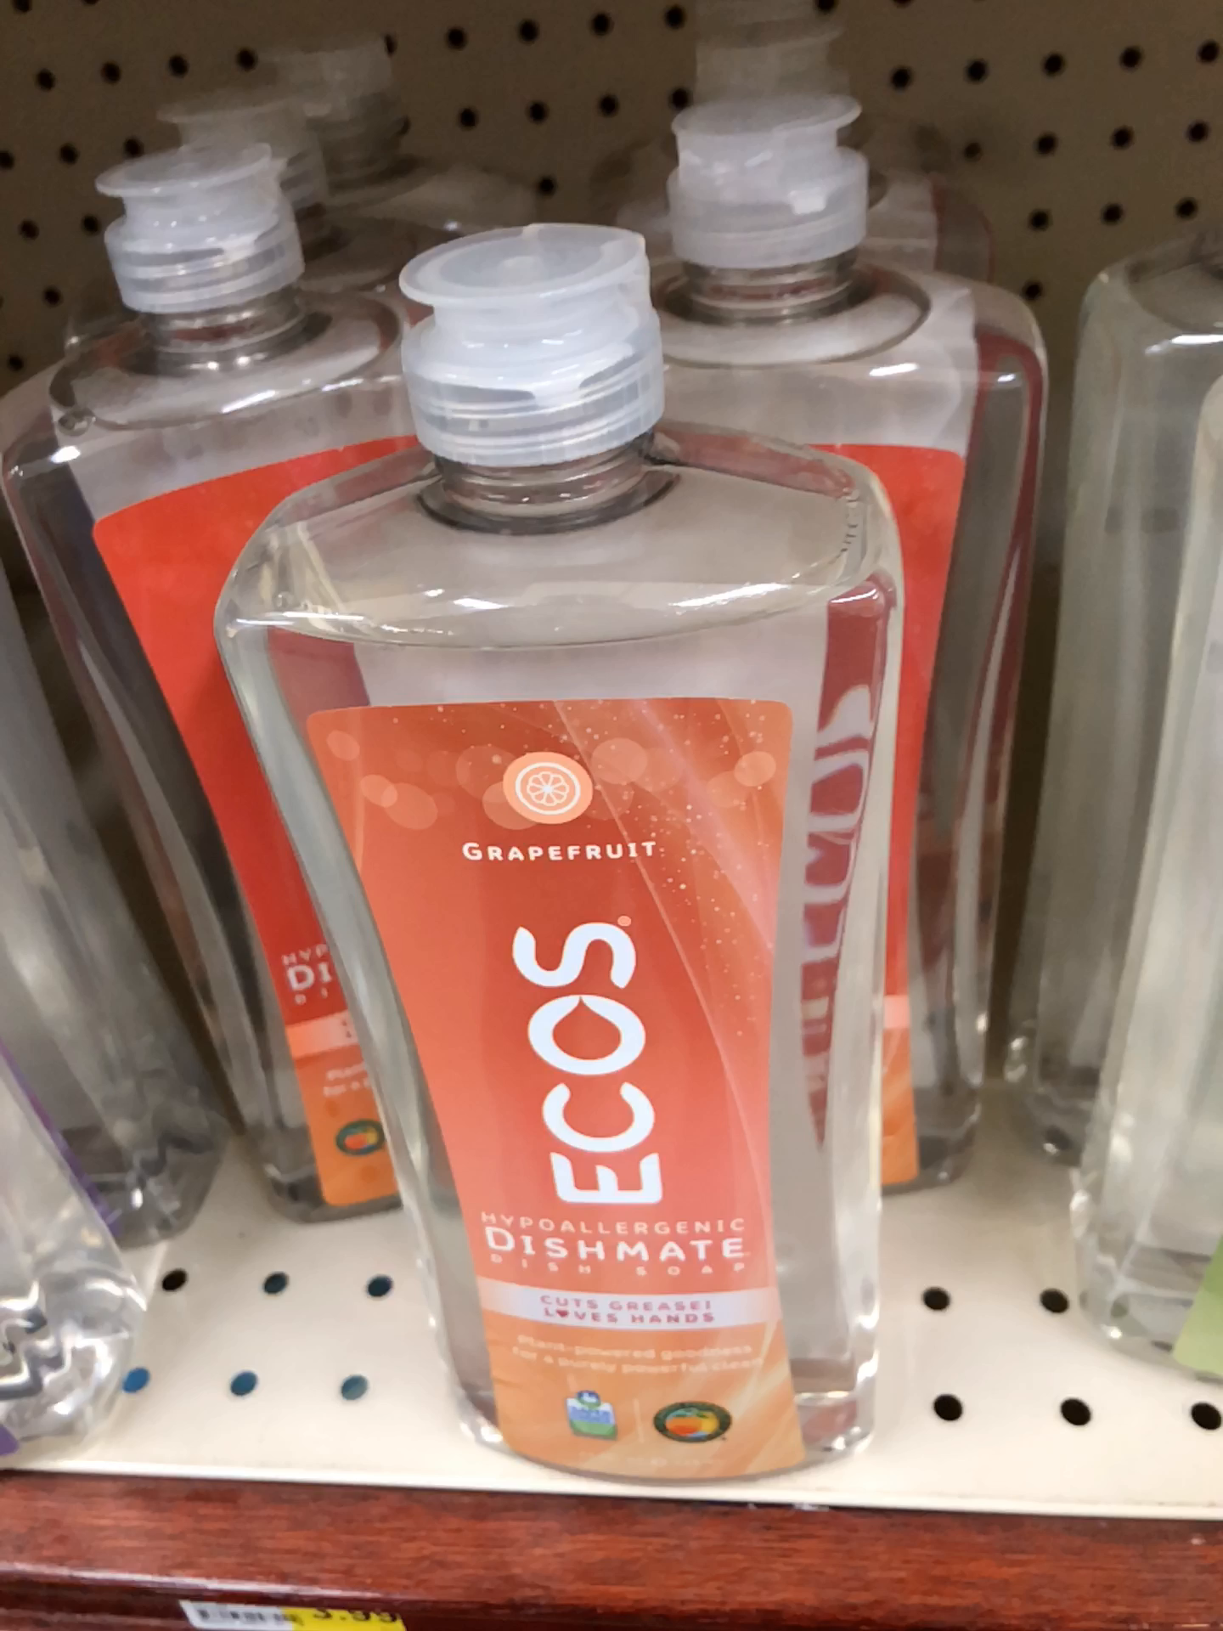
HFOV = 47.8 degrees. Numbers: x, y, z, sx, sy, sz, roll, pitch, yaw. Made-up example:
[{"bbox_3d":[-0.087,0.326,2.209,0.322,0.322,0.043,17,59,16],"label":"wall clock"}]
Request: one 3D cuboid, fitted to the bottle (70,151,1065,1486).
[{"bbox_3d":[0.007,0.025,0.214,0.092,0.220,0.050,-1,39,7],"label":"bottle"}]
